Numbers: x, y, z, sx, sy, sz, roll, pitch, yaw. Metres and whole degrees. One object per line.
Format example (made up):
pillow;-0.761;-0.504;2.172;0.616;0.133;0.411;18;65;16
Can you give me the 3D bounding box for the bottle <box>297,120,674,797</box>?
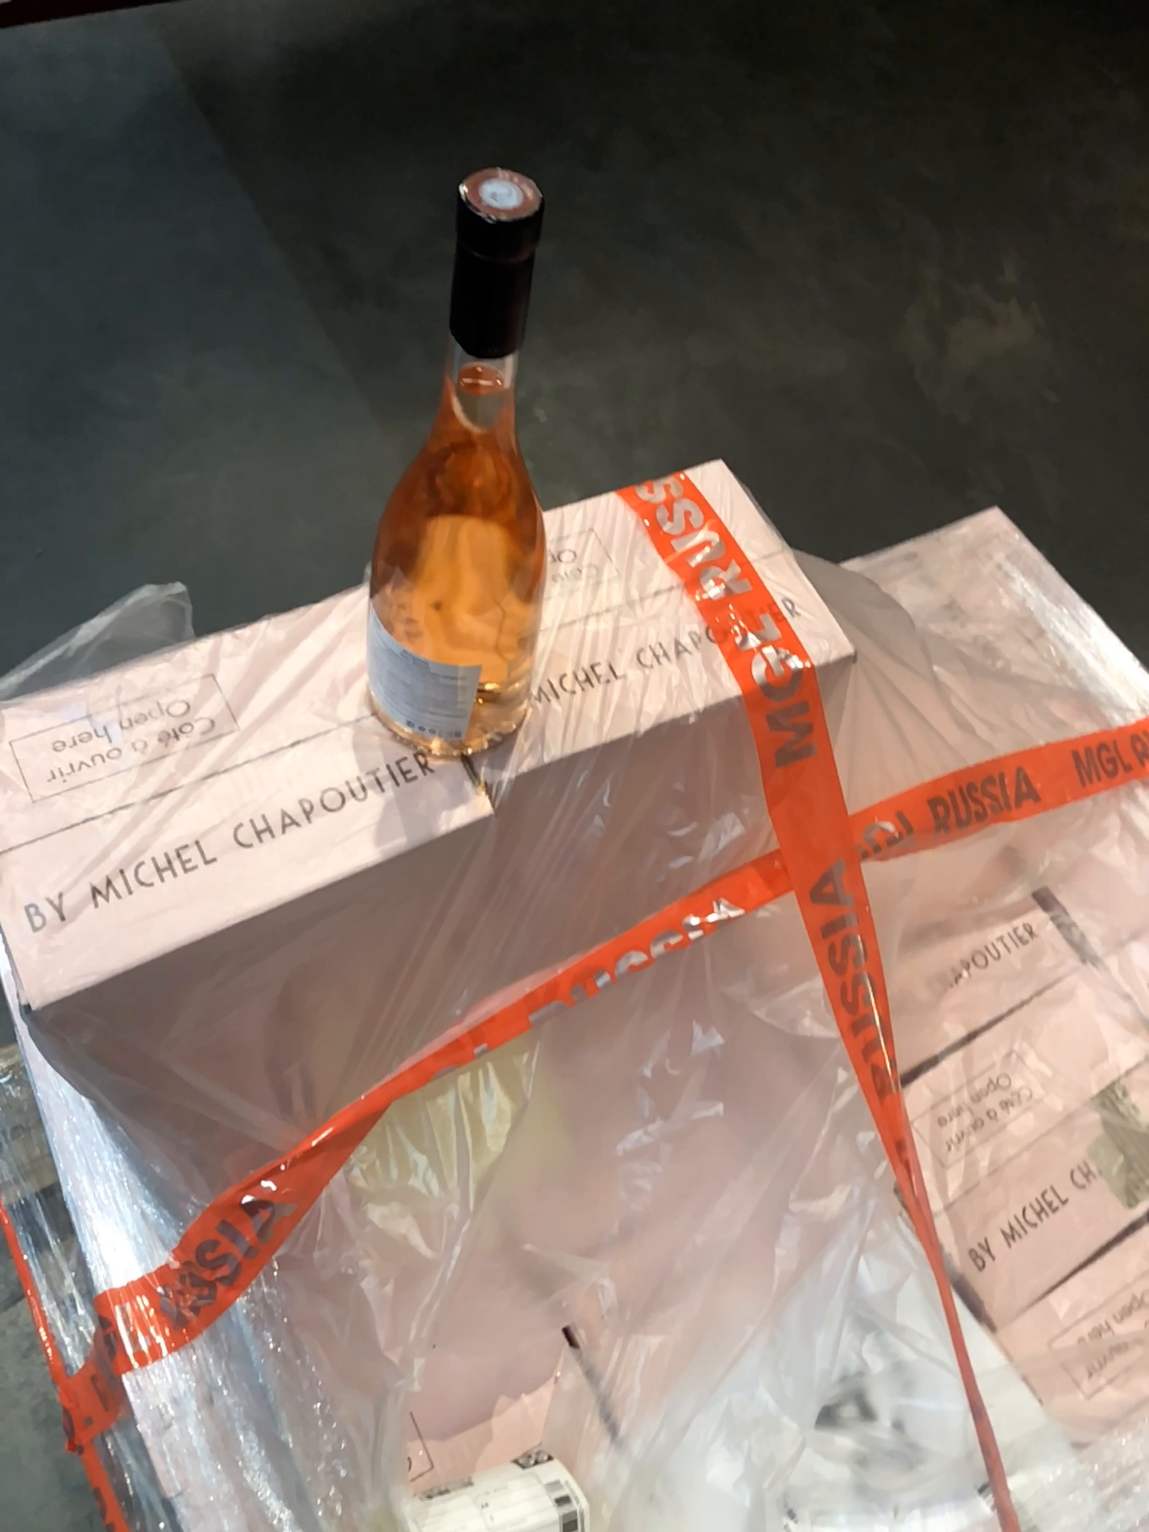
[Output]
bottle;-0.045;-0.111;0.555;0.096;0.279;0.100;4;60;-6
